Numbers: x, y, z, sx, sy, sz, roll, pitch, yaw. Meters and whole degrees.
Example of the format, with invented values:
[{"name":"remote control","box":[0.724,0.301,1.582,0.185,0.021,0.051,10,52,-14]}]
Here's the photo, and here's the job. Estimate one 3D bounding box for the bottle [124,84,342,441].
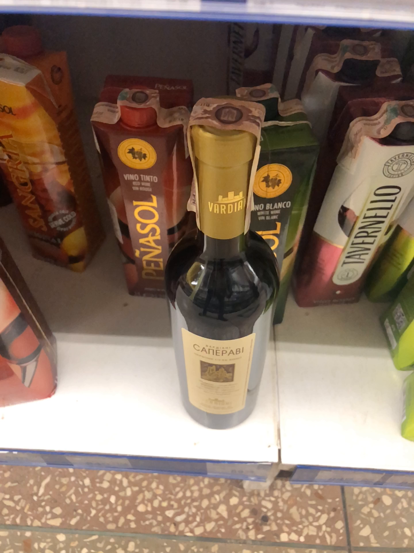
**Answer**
[{"name":"bottle","box":[0.009,0.027,0.302,0.080,0.281,0.070,5,54,2]}]
